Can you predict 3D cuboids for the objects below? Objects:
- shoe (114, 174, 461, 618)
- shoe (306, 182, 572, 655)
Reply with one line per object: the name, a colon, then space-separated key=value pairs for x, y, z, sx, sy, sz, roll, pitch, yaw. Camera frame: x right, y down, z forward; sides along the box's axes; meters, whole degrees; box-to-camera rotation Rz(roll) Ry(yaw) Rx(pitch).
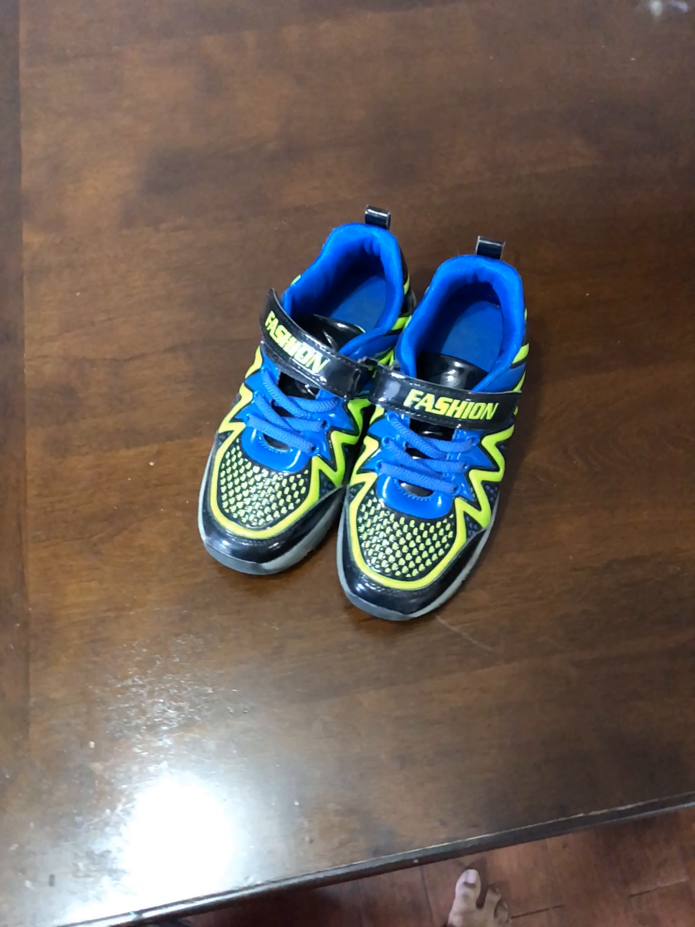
shoe: x=-0.024 y=-0.038 z=0.455 sx=0.100 sy=0.120 sz=0.210 roll=22 pitch=68 yaw=10
shoe: x=0.054 y=-0.025 z=0.445 sx=0.090 sy=0.120 sz=0.230 roll=13 pitch=66 yaw=6
